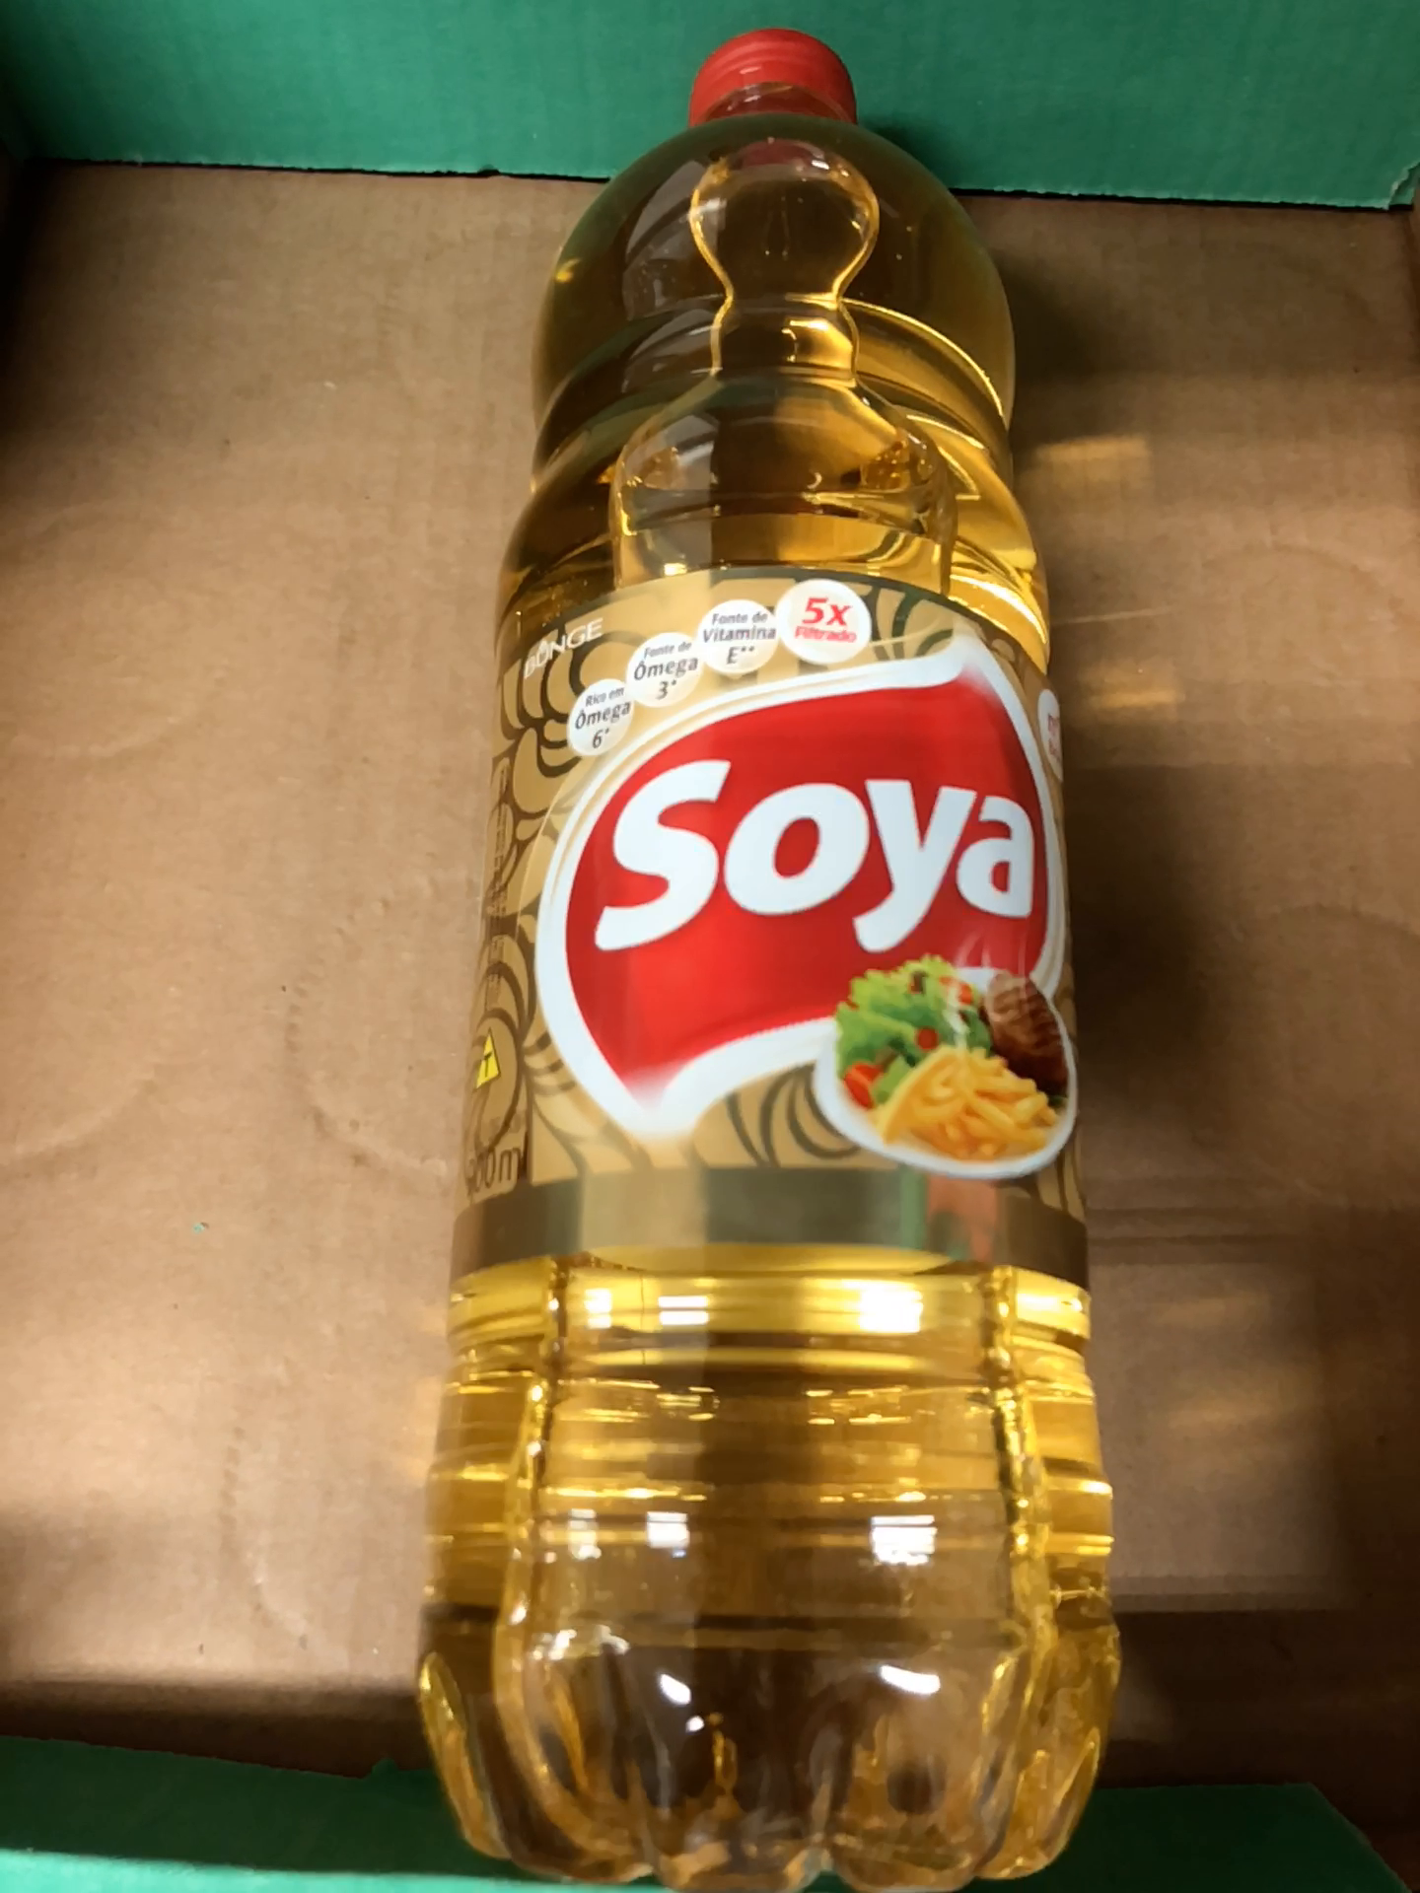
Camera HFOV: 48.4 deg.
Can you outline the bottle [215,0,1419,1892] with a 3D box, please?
[{"bbox_3d":[0.011,-0.017,0.168,0.080,0.070,0.210,2,71,-1],"label":"bottle"}]
